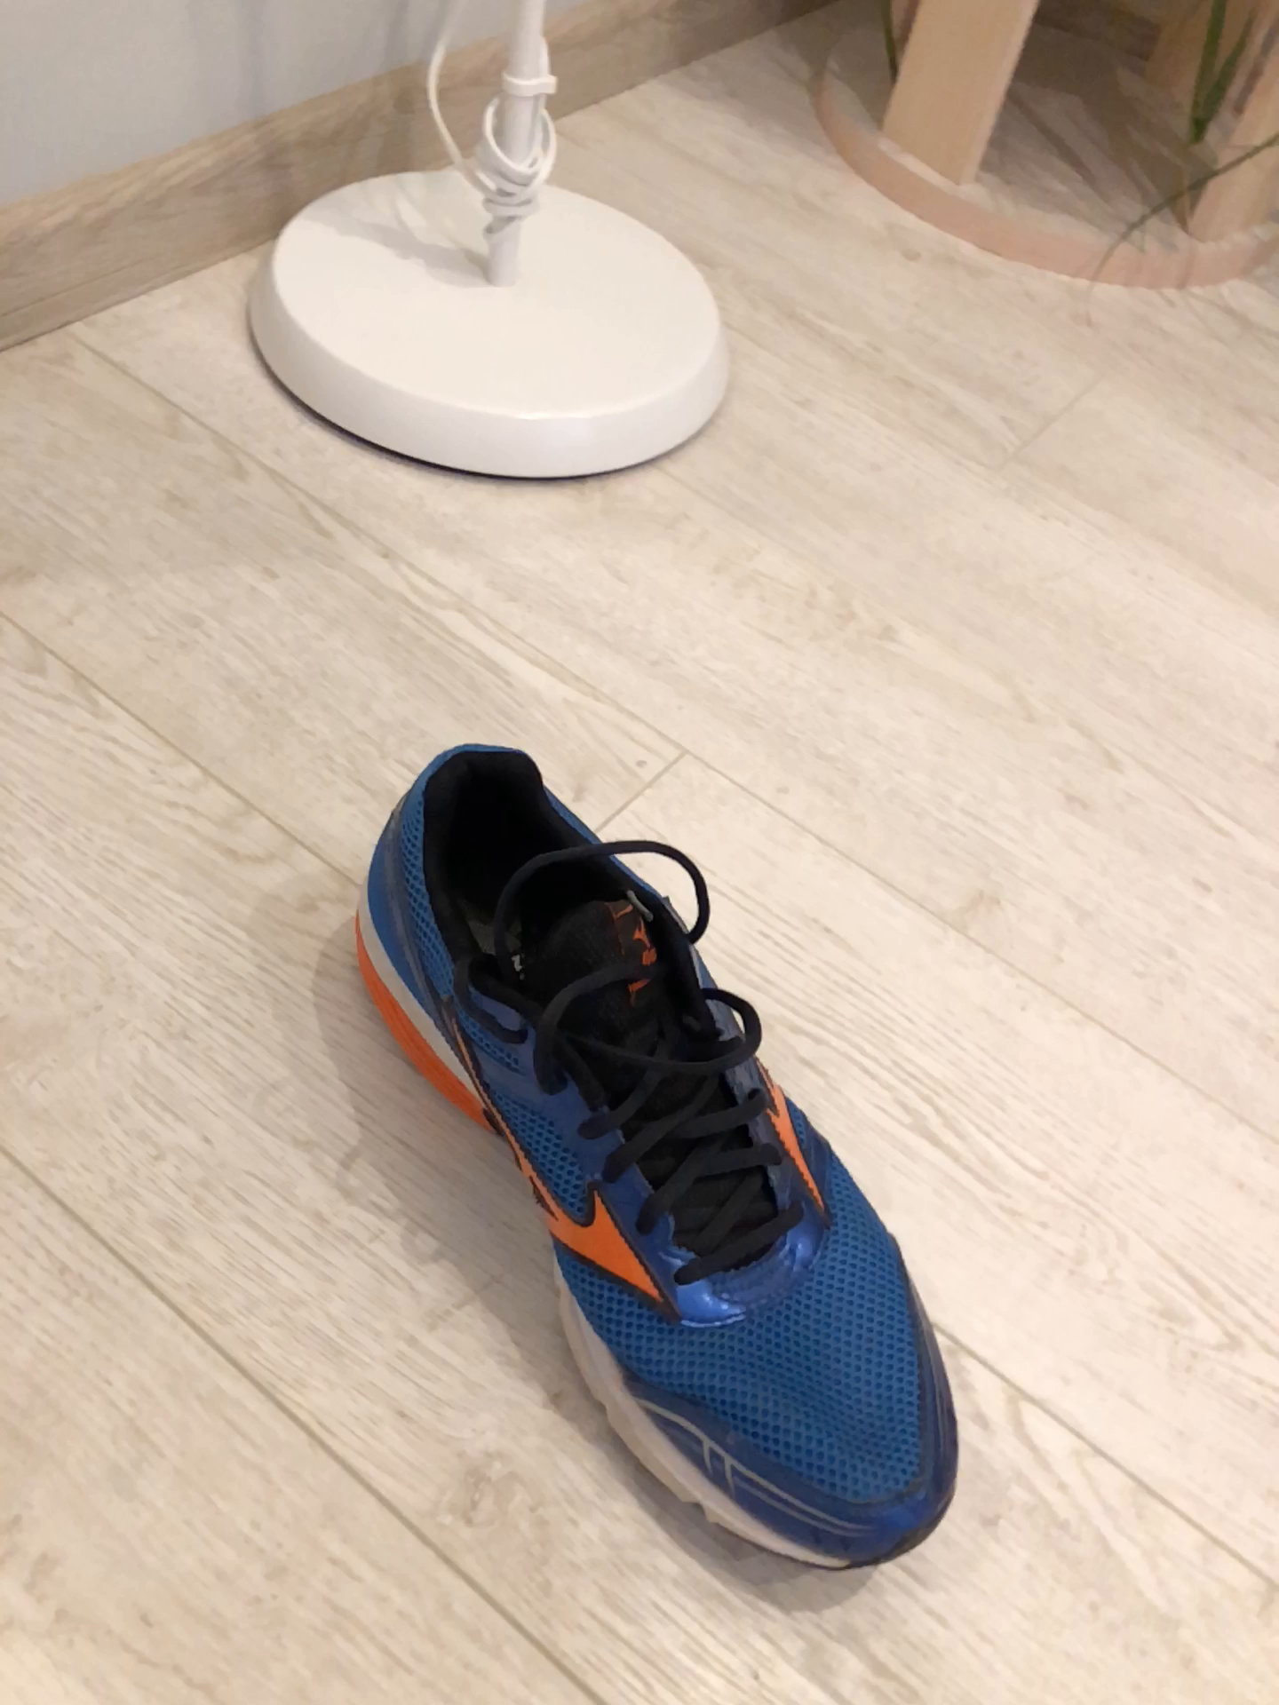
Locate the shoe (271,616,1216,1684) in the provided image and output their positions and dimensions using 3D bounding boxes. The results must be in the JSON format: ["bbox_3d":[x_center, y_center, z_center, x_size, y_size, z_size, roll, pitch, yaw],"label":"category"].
[{"bbox_3d":[0.007,0.077,0.453,0.117,0.119,0.301,-25,60,-30],"label":"shoe"}]
